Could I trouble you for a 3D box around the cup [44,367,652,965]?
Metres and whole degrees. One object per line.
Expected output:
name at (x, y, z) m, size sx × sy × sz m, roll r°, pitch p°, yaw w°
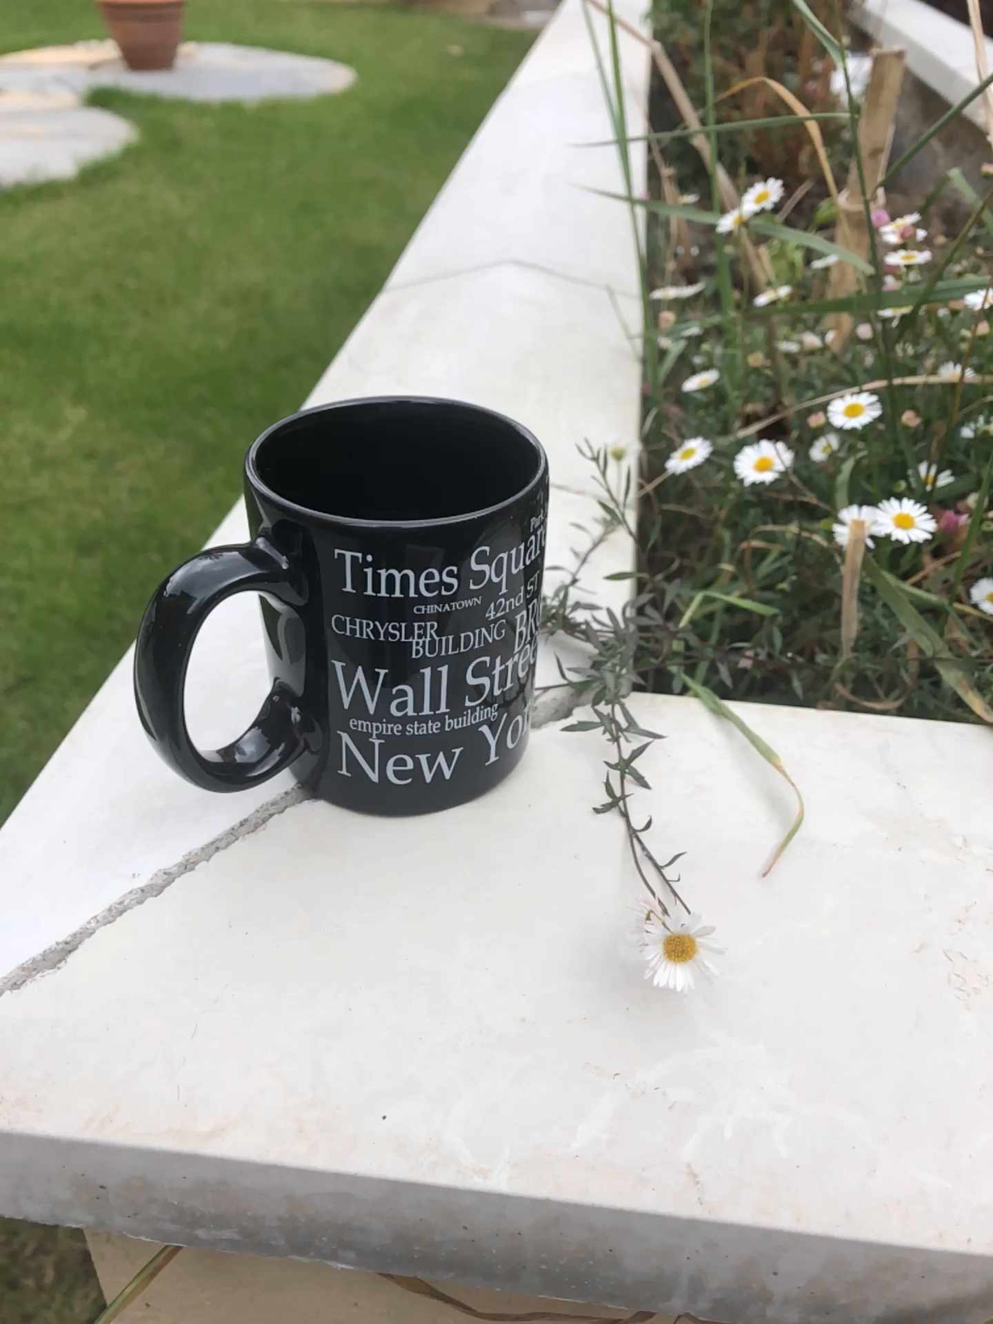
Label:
cup at (-0.025, -0.006, 0.218) m, size 0.090 × 0.069 × 0.060 m, roll -27°, pitch 44°, yaw -35°
